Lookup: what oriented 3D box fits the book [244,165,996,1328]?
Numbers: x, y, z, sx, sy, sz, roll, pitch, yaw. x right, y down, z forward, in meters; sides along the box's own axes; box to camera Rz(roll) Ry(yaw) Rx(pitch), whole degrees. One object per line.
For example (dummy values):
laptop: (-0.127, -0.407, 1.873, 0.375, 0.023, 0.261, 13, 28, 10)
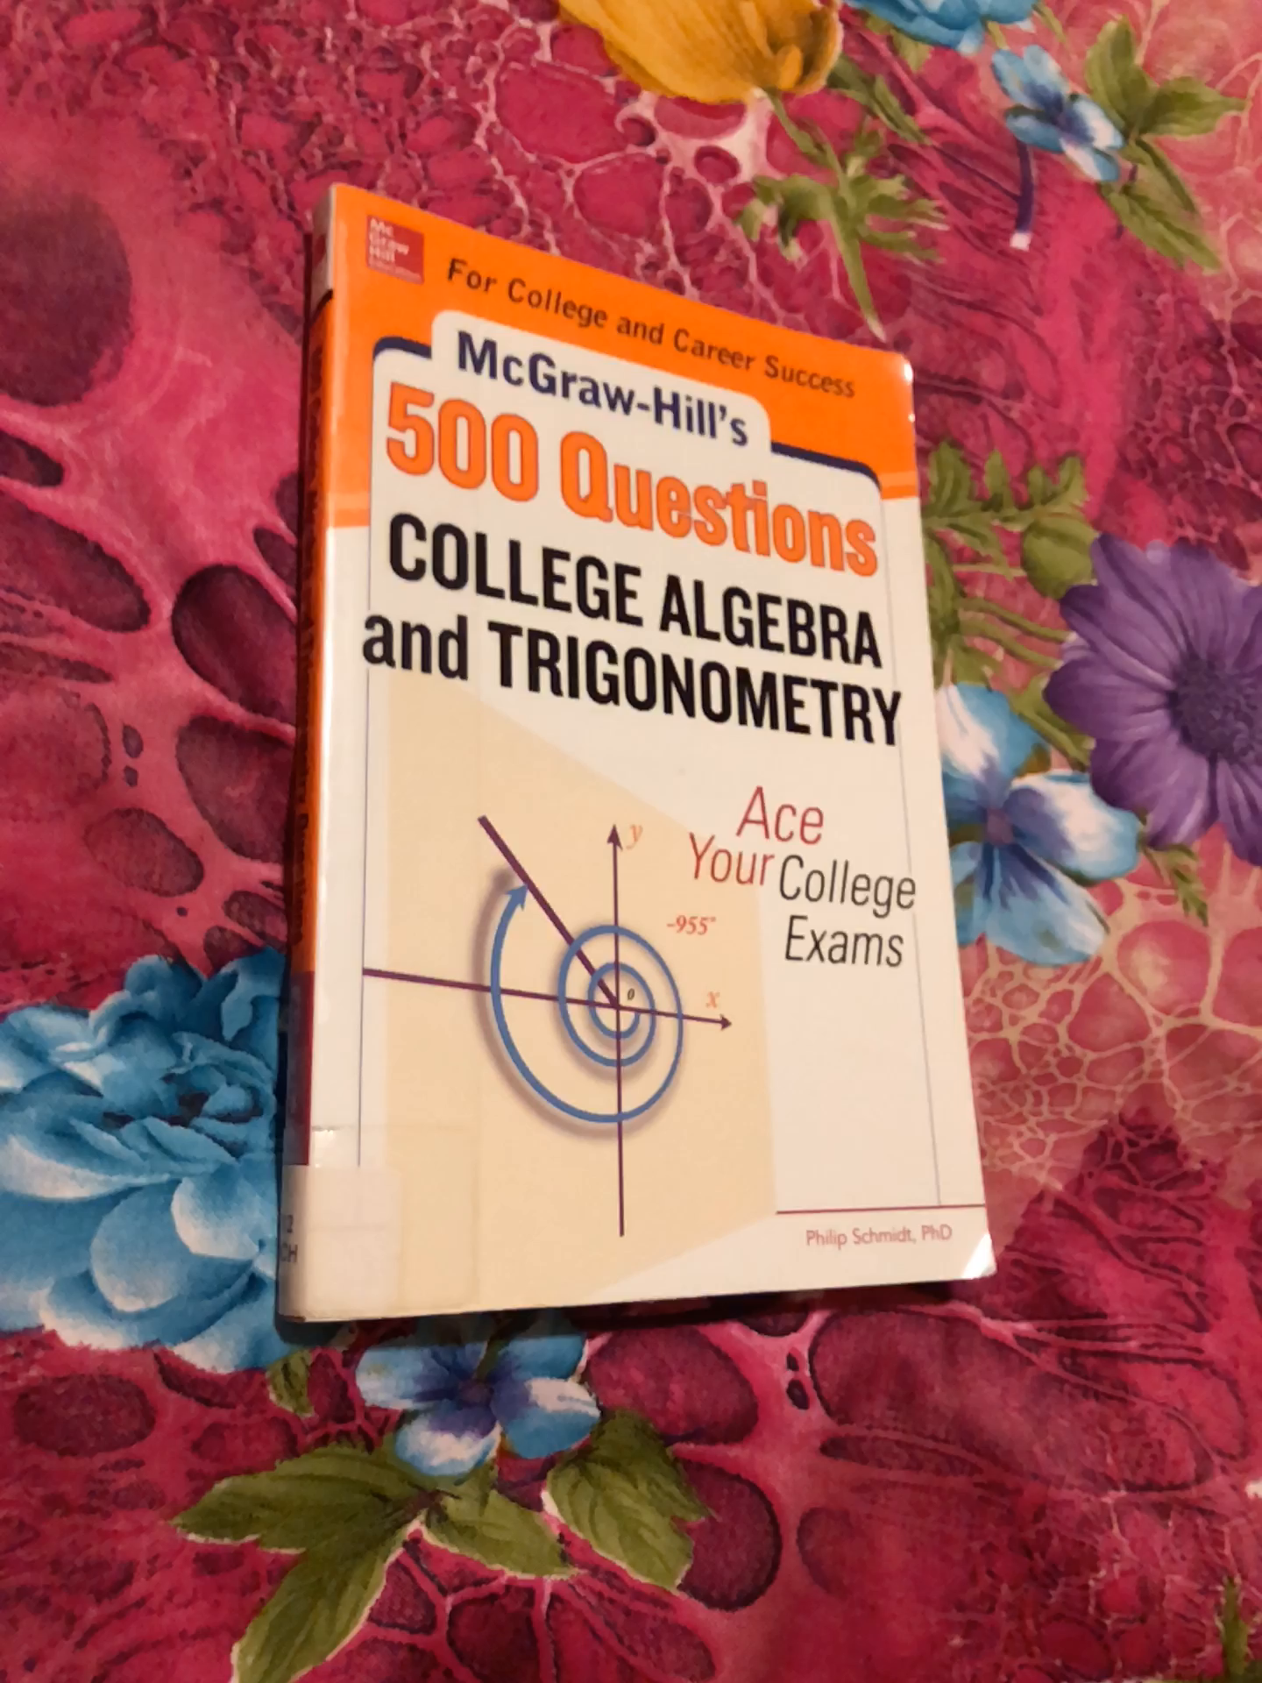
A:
book: (0.003, -0.018, 0.302, 0.157, 0.022, 0.220, 6, 74, -29)
